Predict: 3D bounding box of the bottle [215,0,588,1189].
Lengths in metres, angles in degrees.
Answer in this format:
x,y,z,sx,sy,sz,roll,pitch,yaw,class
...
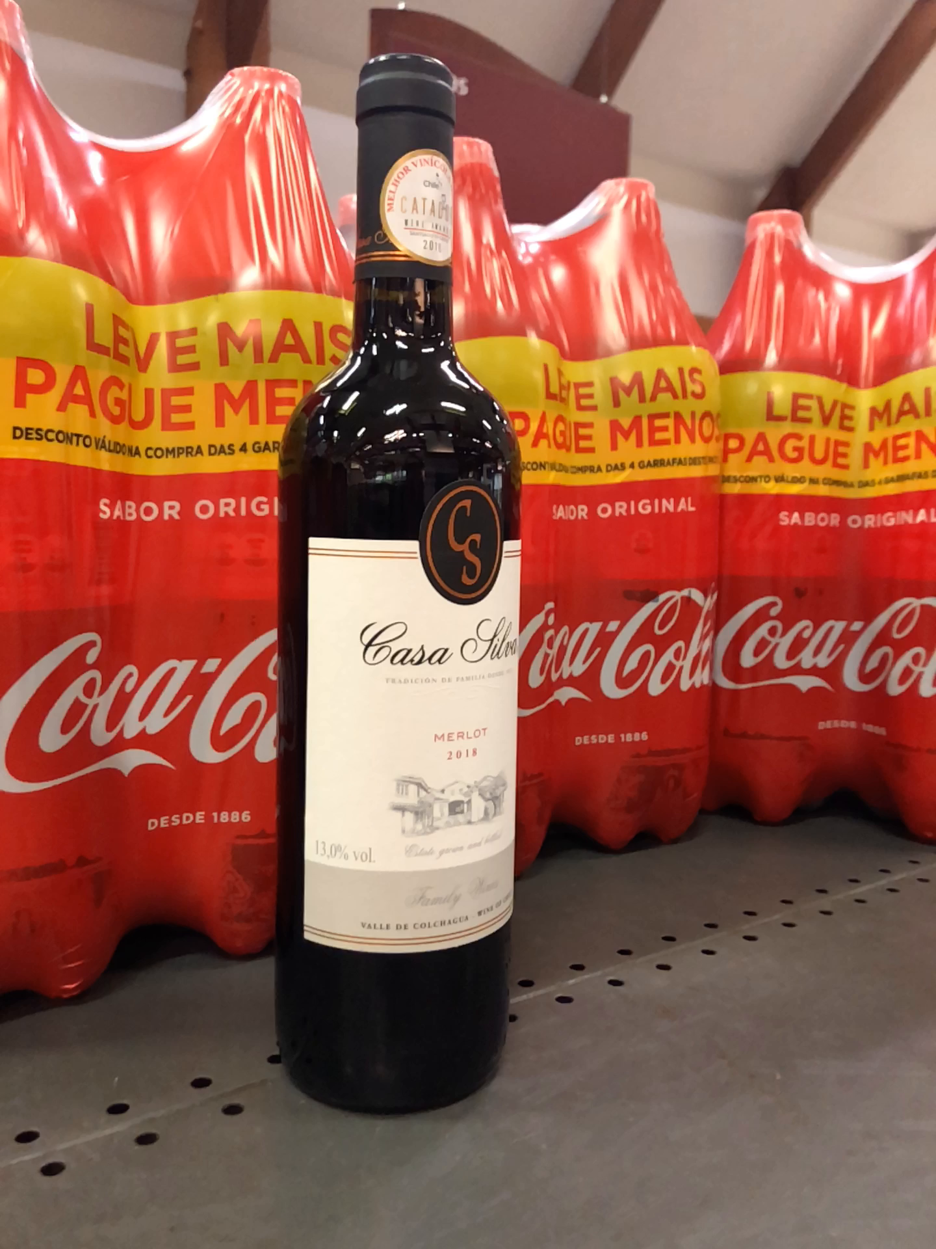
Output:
x,y,z,sx,sy,sz,roll,pitch,yaw,class
-0.023,-0.010,0.312,0.080,0.309,0.070,-2,7,-35,bottle
